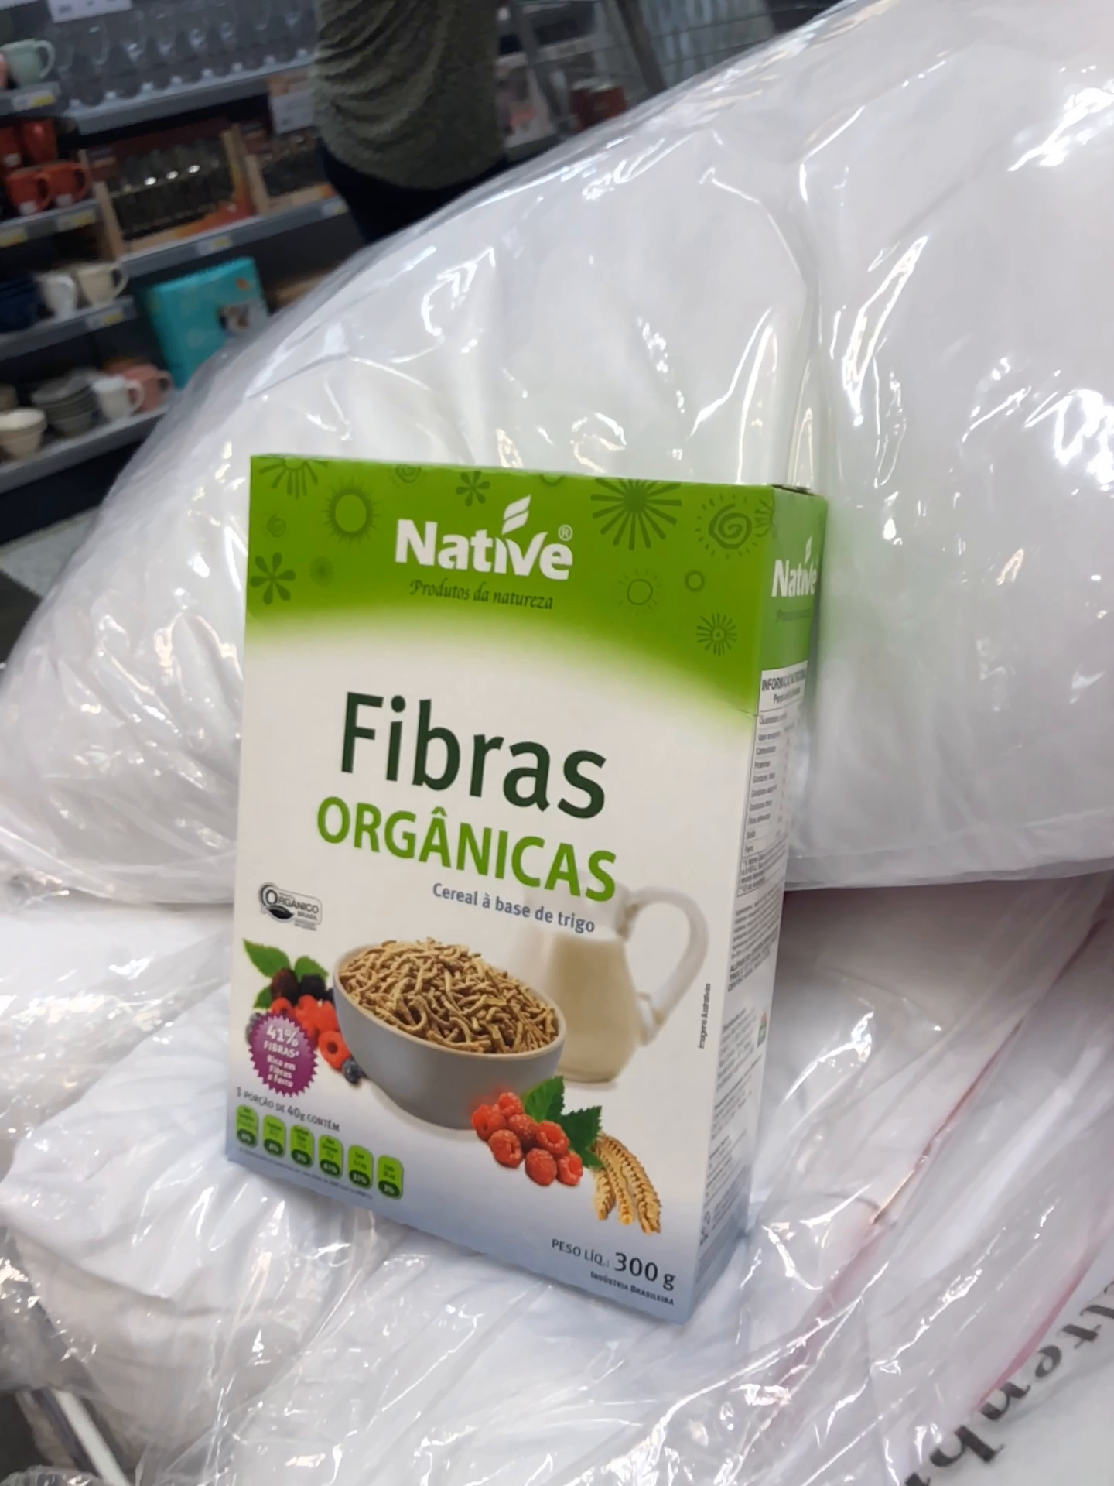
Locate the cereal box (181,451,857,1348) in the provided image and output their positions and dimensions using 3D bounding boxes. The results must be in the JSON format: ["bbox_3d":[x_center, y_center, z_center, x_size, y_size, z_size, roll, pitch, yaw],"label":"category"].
[{"bbox_3d":[-0.021,0.033,0.384,0.190,0.229,0.060,9,11,26],"label":"cereal box"}]
